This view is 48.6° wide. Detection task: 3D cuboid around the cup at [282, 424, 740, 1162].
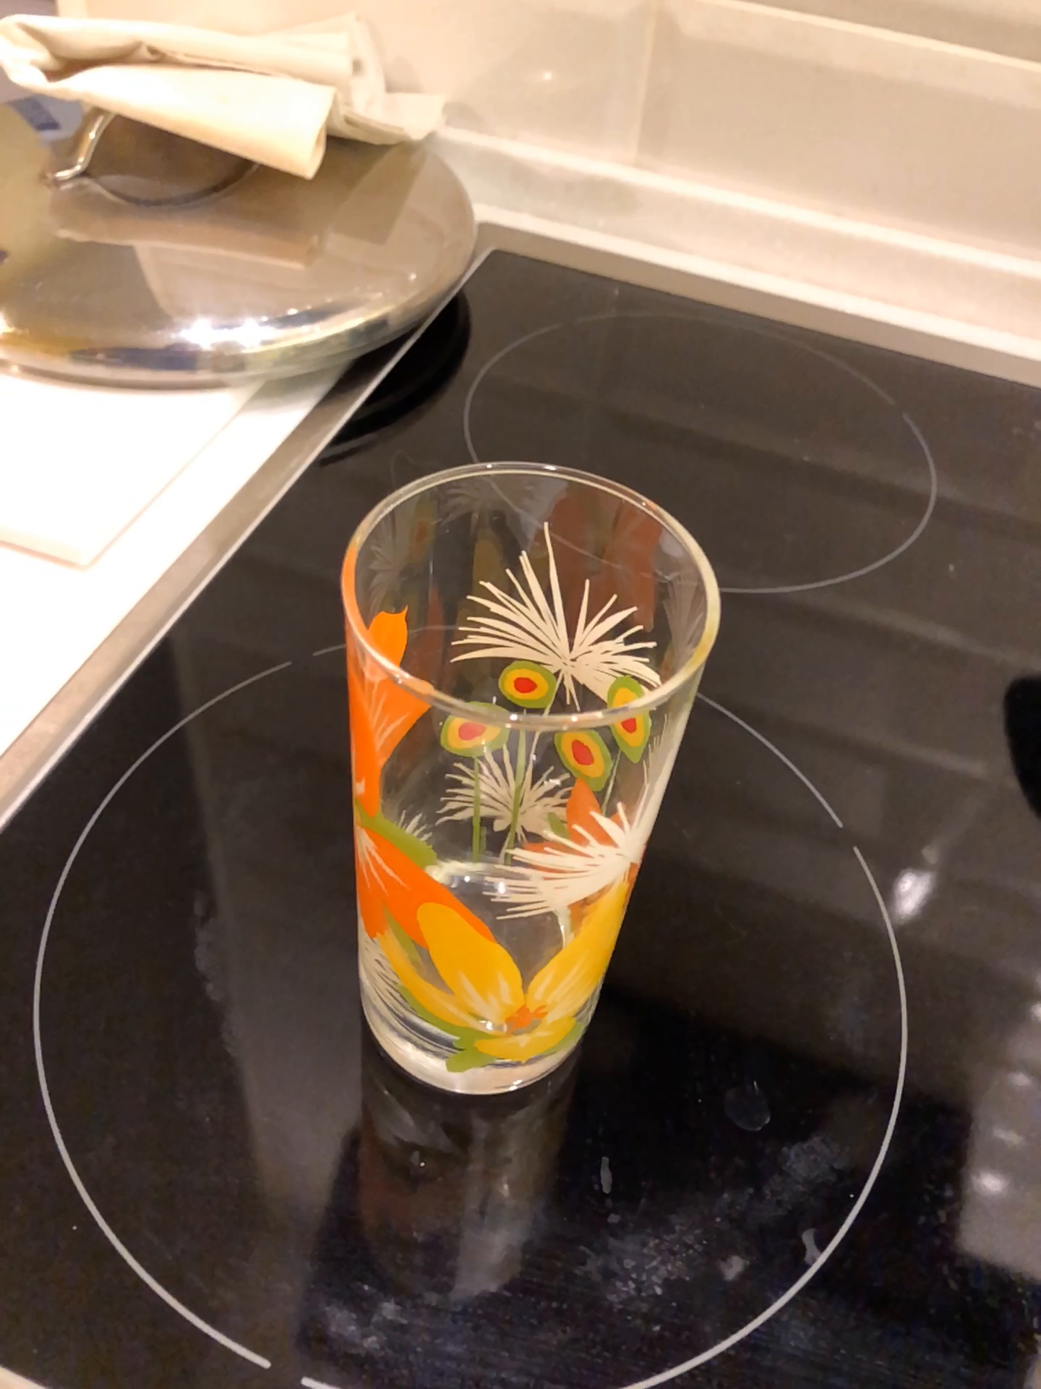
[{"bbox_3d":[-0.003,0.028,0.234,0.062,0.138,0.067,4,46,-4],"label":"cup"}]
